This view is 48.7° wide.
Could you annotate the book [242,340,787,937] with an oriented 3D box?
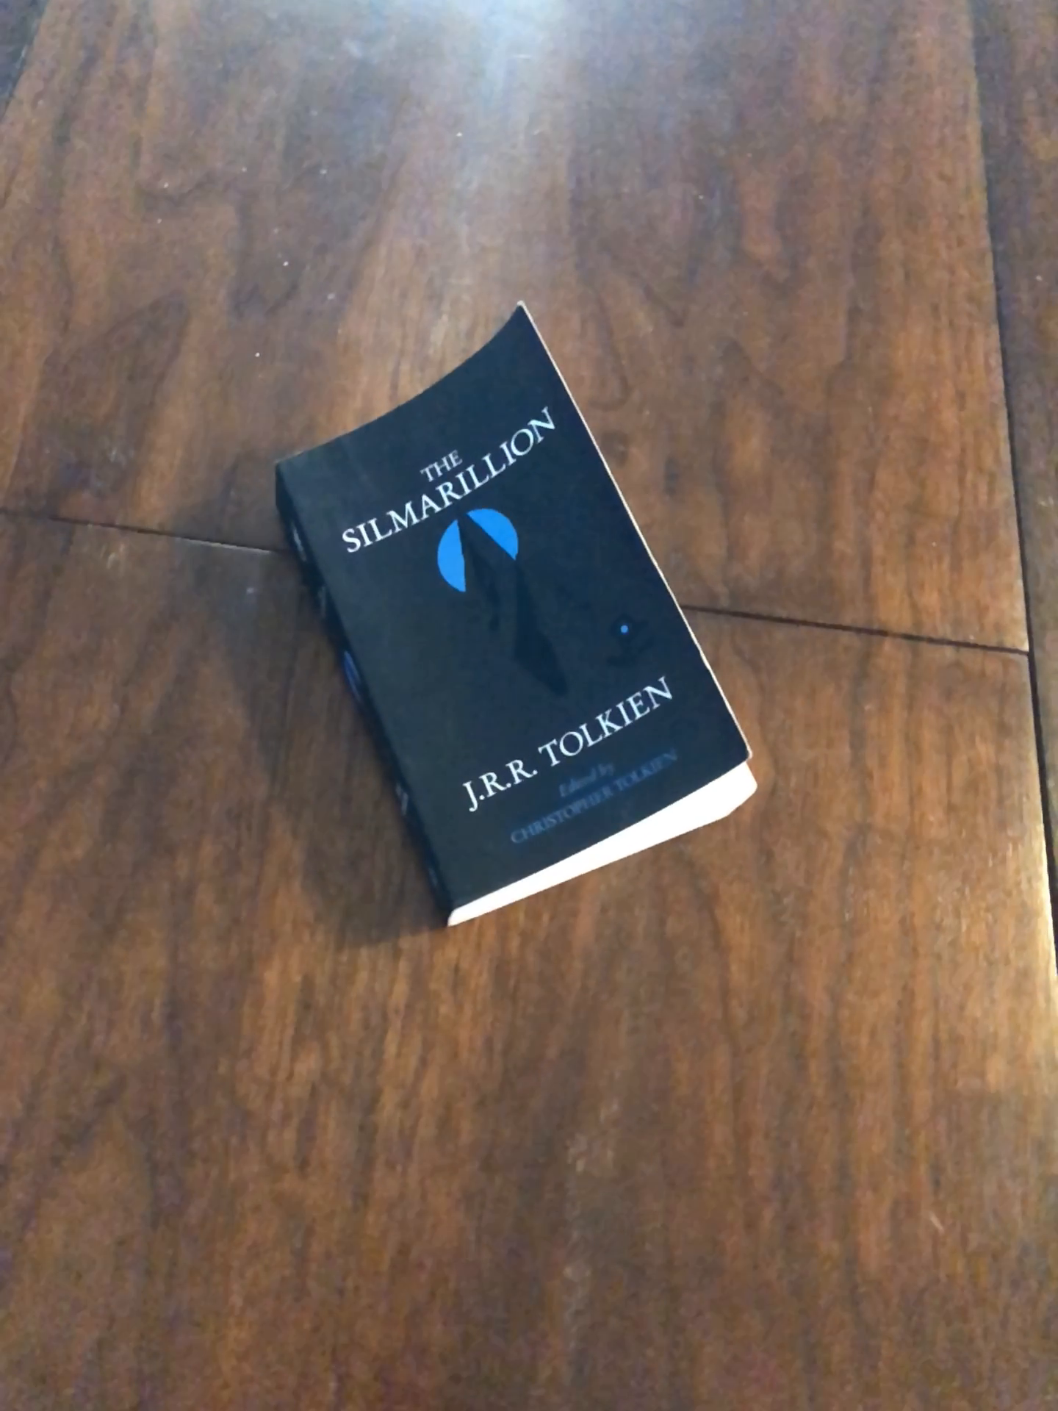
[{"bbox_3d":[-0.010,-0.030,0.407,0.119,0.040,0.180,-21,72,-15],"label":"book"}]
